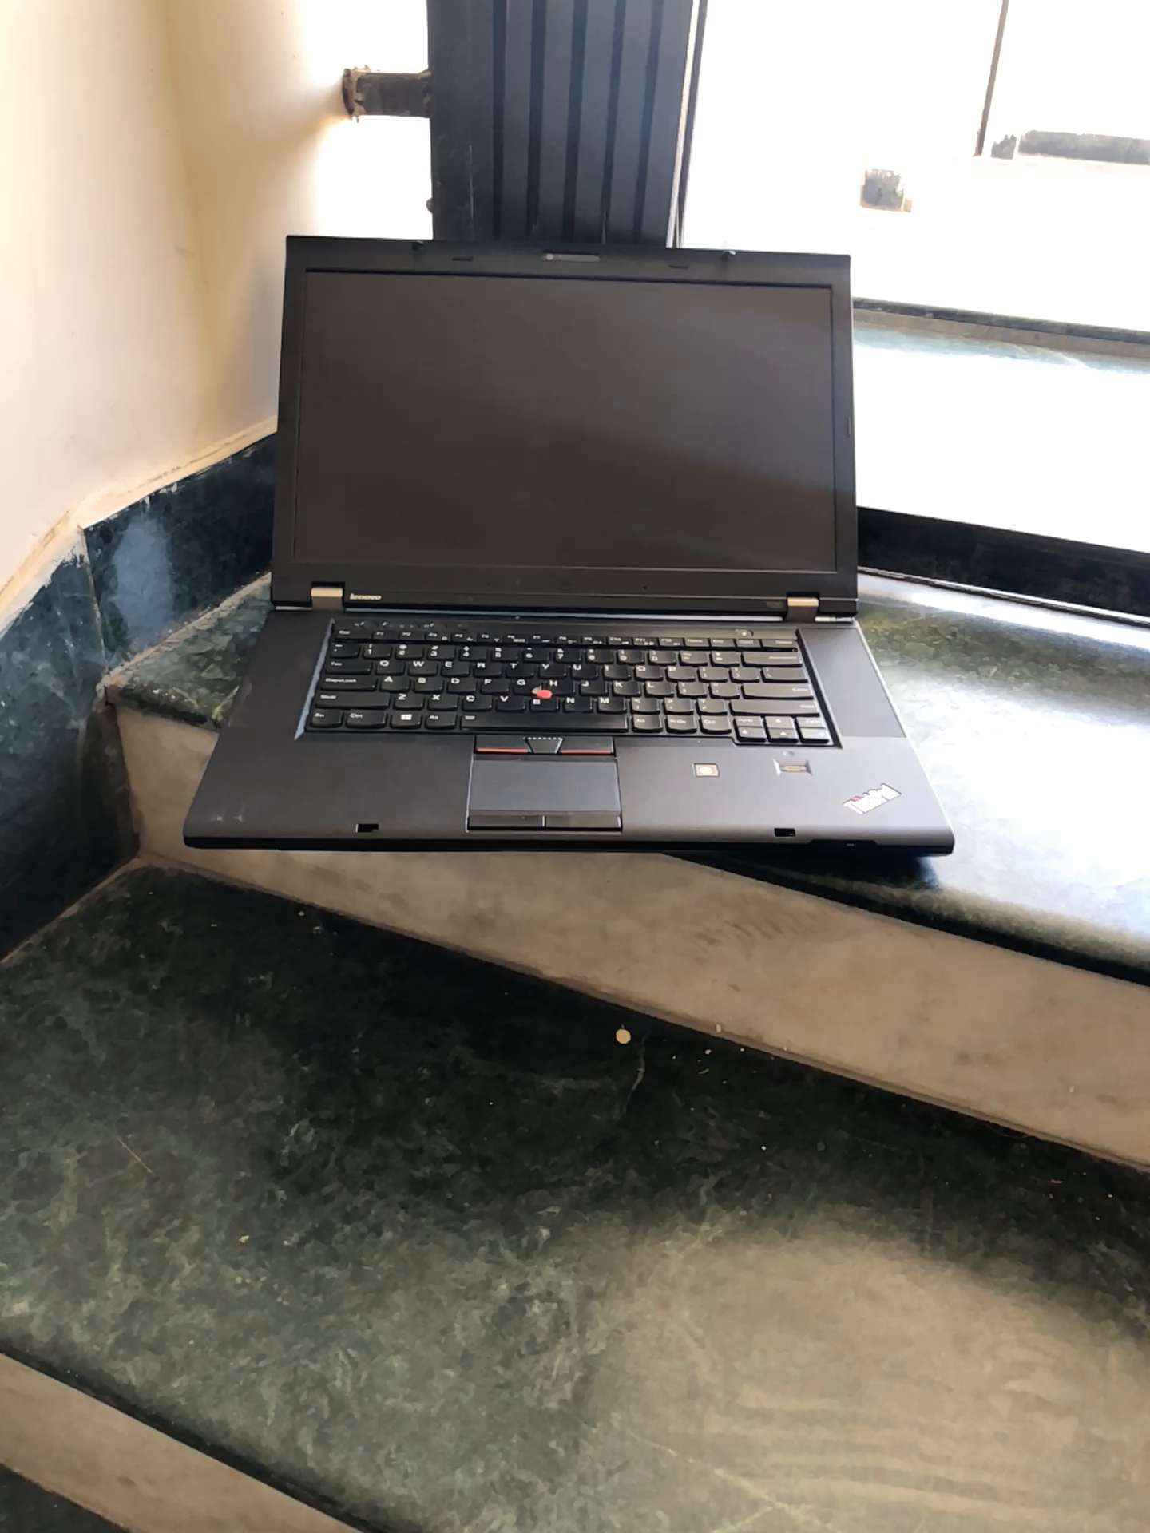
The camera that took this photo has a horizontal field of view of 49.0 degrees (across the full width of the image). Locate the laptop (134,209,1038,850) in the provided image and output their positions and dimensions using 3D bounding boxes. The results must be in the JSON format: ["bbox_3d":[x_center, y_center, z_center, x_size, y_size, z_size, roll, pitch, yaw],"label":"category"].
[{"bbox_3d":[-0.001,-0.159,0.702,0.359,0.181,0.390,1,35,-2],"label":"laptop"}]
